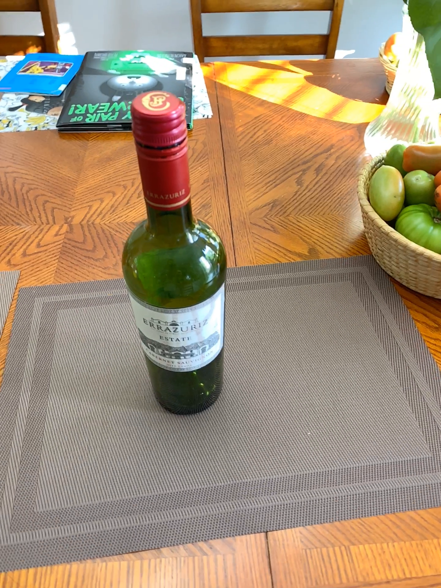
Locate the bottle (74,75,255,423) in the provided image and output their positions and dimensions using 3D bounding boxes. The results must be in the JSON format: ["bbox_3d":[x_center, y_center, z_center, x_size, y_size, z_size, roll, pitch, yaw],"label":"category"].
[{"bbox_3d":[-0.030,-0.003,0.367,0.090,0.307,0.081,-1,49,-1],"label":"bottle"}]
